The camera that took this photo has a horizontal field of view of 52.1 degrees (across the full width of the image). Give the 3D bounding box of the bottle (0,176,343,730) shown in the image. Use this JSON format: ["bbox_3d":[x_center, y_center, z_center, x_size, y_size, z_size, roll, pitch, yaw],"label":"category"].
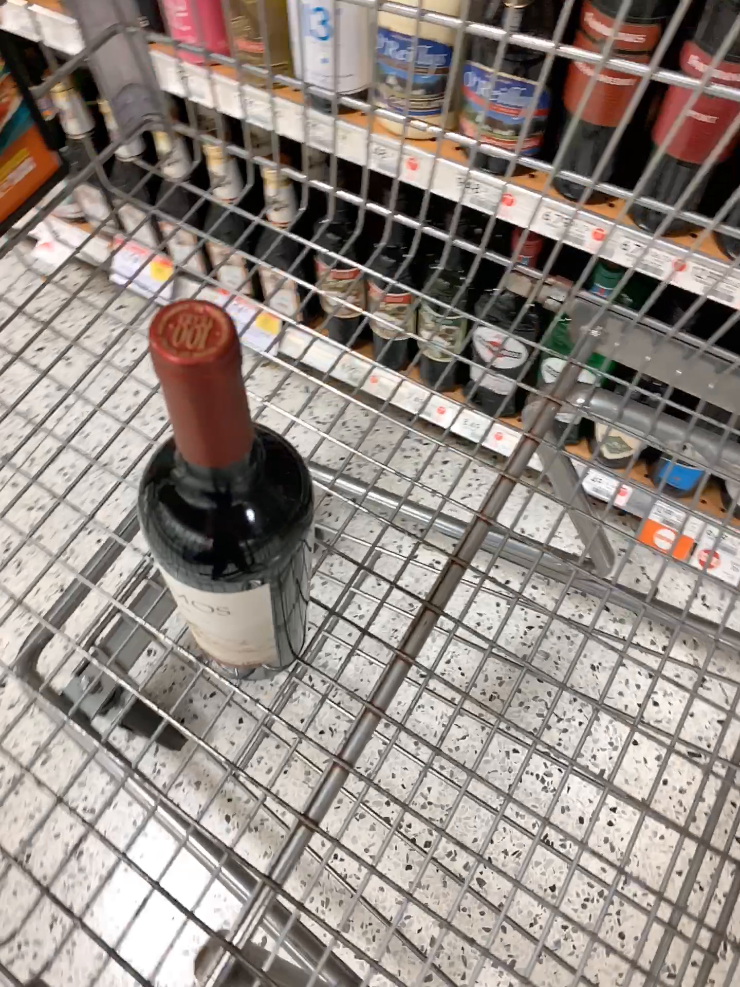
[{"bbox_3d":[-0.072,0.019,0.349,0.080,0.298,0.090,-33,68,-17],"label":"bottle"}]
